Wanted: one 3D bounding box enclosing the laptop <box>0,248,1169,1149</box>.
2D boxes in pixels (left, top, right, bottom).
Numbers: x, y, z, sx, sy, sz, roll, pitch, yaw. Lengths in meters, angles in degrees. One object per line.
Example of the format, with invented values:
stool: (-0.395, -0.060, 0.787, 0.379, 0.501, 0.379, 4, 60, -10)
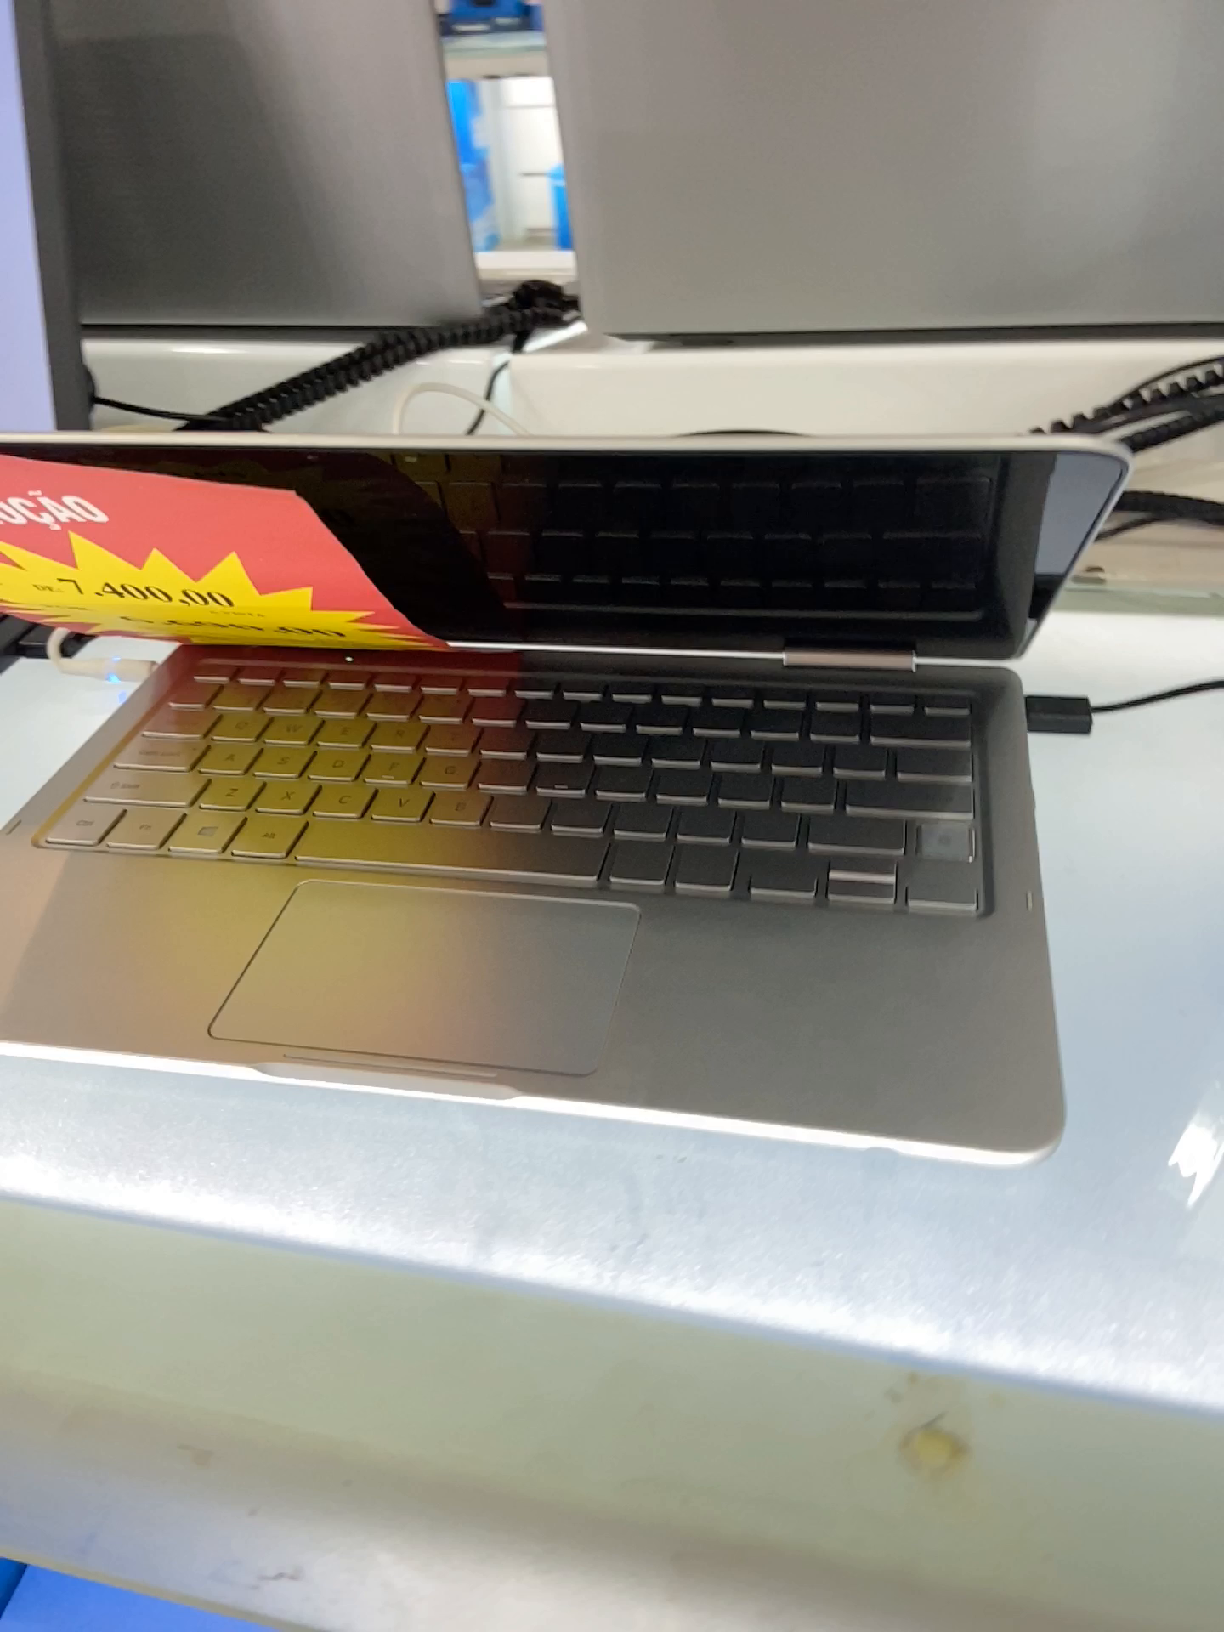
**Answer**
laptop: (-0.039, -0.052, 0.340, 0.306, 0.132, 0.202, 3, 37, 12)
